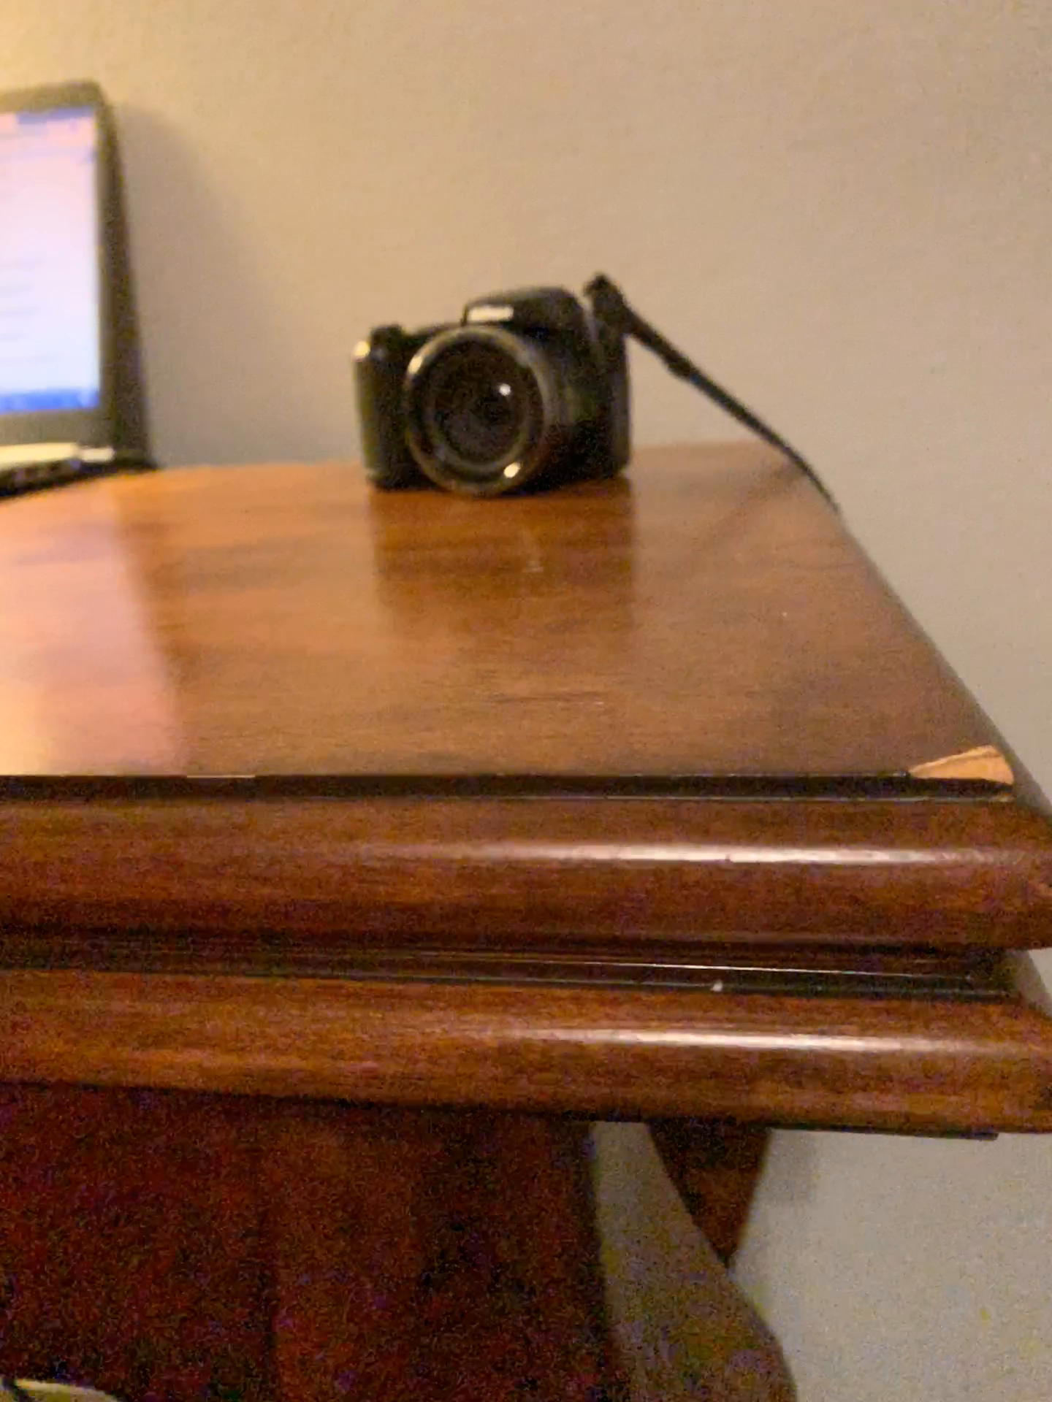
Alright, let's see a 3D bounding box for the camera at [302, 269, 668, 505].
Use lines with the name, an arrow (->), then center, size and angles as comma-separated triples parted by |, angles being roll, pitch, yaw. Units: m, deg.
camera -> -0.011, -0.135, 0.482 | 0.110, 0.081, 0.123 | 3, 17, 25
